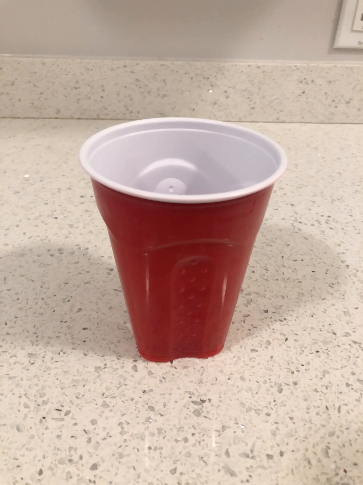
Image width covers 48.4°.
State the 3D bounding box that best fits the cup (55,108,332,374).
[{"bbox_3d":[-0.001,-0.008,0.213,0.100,0.092,0.102,0,35,0],"label":"cup"}]
